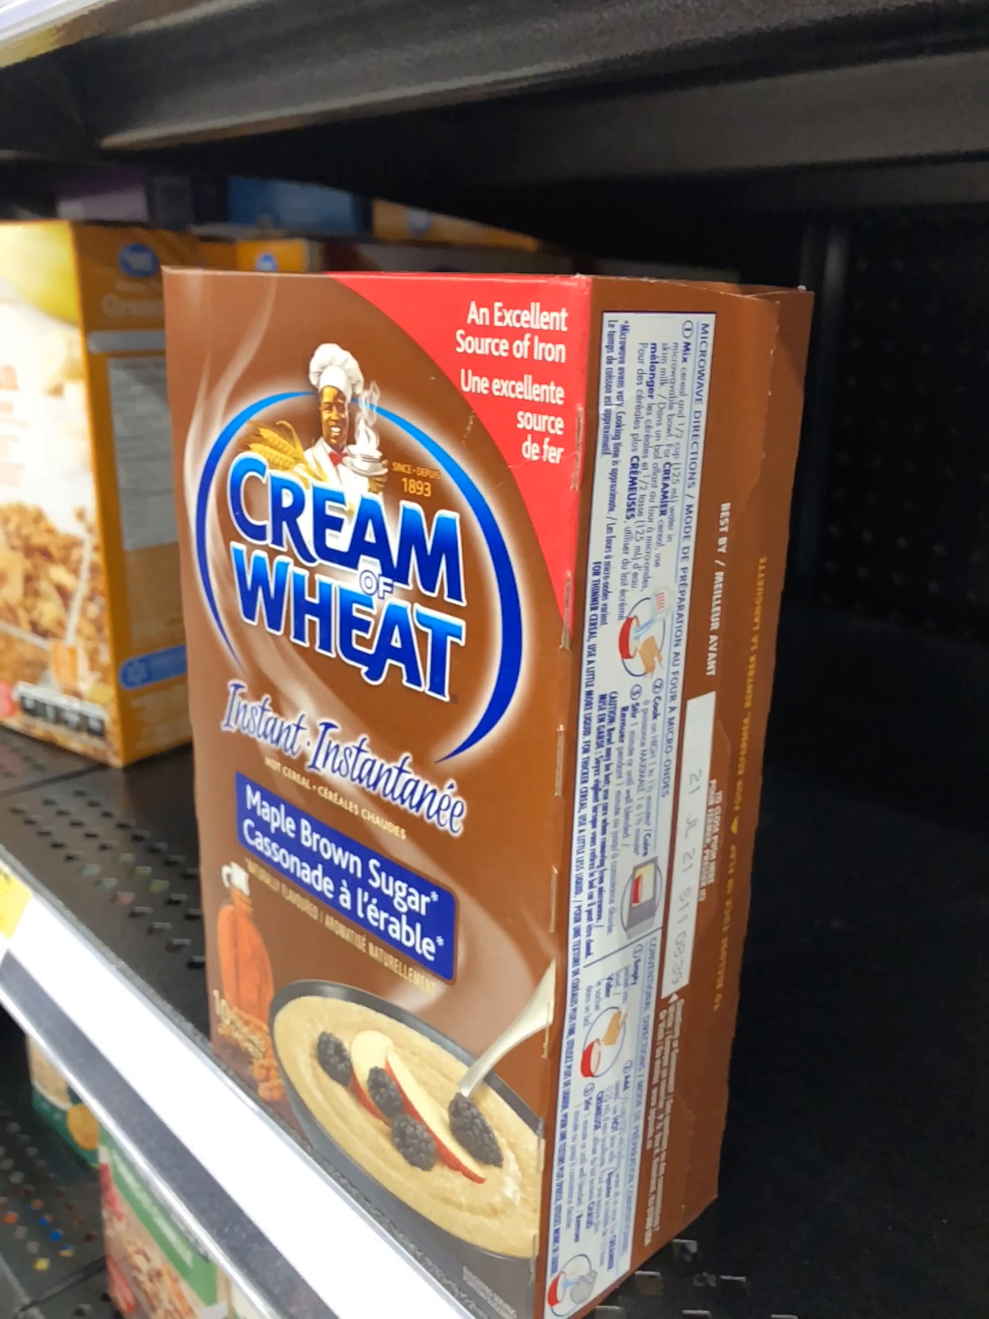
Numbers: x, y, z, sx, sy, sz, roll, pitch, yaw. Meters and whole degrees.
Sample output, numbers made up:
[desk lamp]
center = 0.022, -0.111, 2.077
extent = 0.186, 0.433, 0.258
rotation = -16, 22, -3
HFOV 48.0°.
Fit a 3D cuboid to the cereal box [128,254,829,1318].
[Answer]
[cereal box]
center = -0.012, 0.025, 0.240
extent = 0.060, 0.209, 0.130
rotation = -15, 24, -41
